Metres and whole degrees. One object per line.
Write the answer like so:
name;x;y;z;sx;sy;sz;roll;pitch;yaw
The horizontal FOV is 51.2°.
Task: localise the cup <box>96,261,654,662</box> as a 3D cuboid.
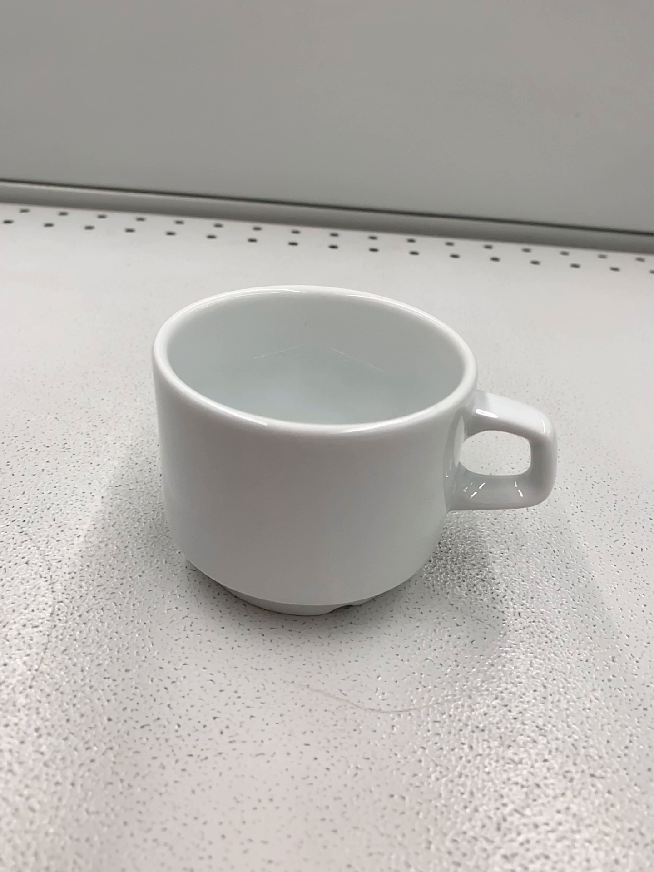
cup;0.010;0.000;0.176;0.105;0.056;0.082;6;33;2
